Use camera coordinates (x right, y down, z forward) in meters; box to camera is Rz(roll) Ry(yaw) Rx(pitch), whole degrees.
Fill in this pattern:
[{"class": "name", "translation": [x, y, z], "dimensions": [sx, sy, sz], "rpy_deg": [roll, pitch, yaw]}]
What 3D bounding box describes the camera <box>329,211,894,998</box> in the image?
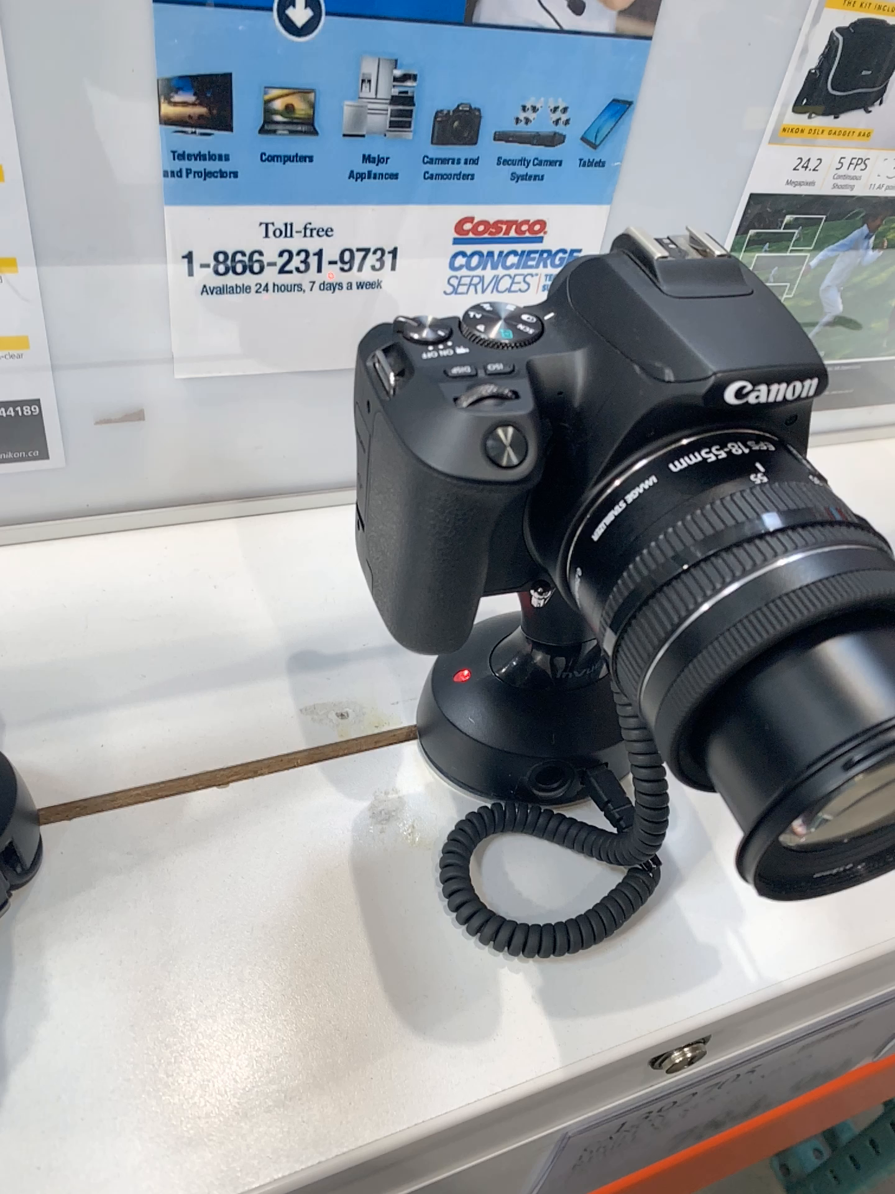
[{"class": "camera", "translation": [0.055, -0.017, 0.202], "dimensions": [0.119, 0.079, 0.141], "rpy_deg": [-10, 45, -22]}]
